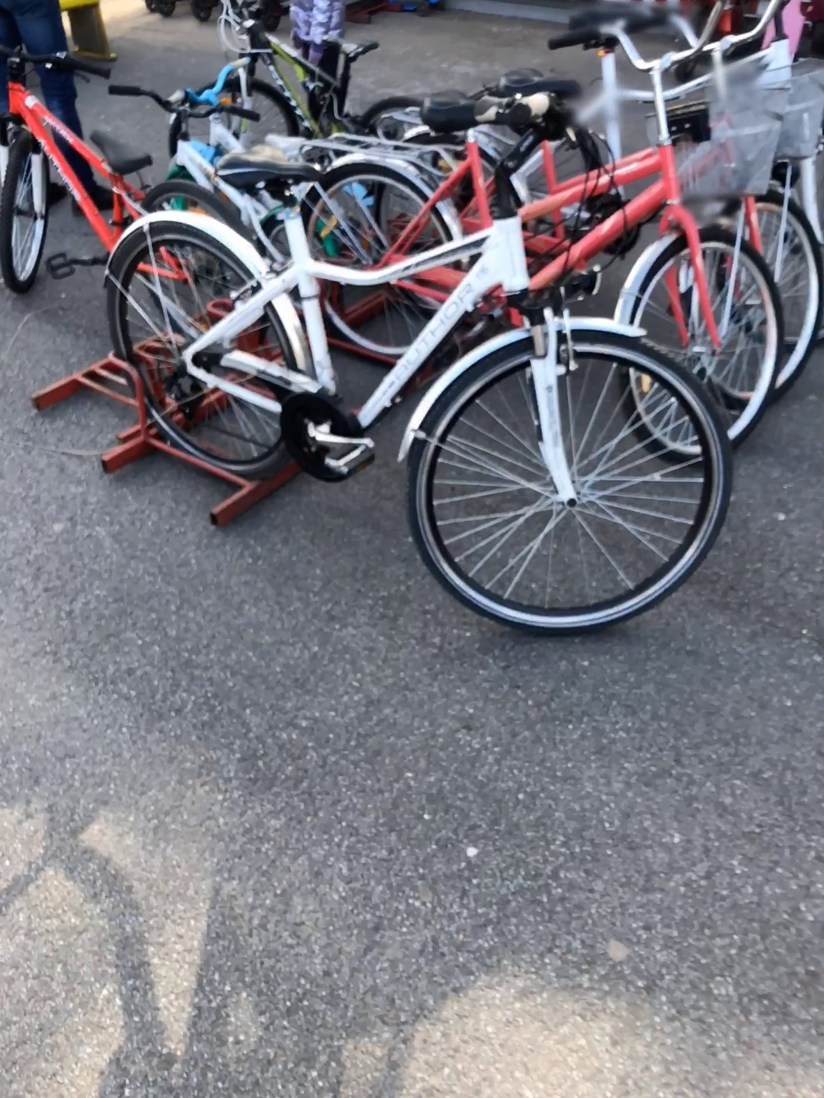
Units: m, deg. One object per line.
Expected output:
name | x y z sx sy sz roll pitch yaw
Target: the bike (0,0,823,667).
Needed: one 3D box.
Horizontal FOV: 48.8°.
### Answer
bike | -0.060 -0.570 2.131 1.699 1.111 0.647 17 45 21
